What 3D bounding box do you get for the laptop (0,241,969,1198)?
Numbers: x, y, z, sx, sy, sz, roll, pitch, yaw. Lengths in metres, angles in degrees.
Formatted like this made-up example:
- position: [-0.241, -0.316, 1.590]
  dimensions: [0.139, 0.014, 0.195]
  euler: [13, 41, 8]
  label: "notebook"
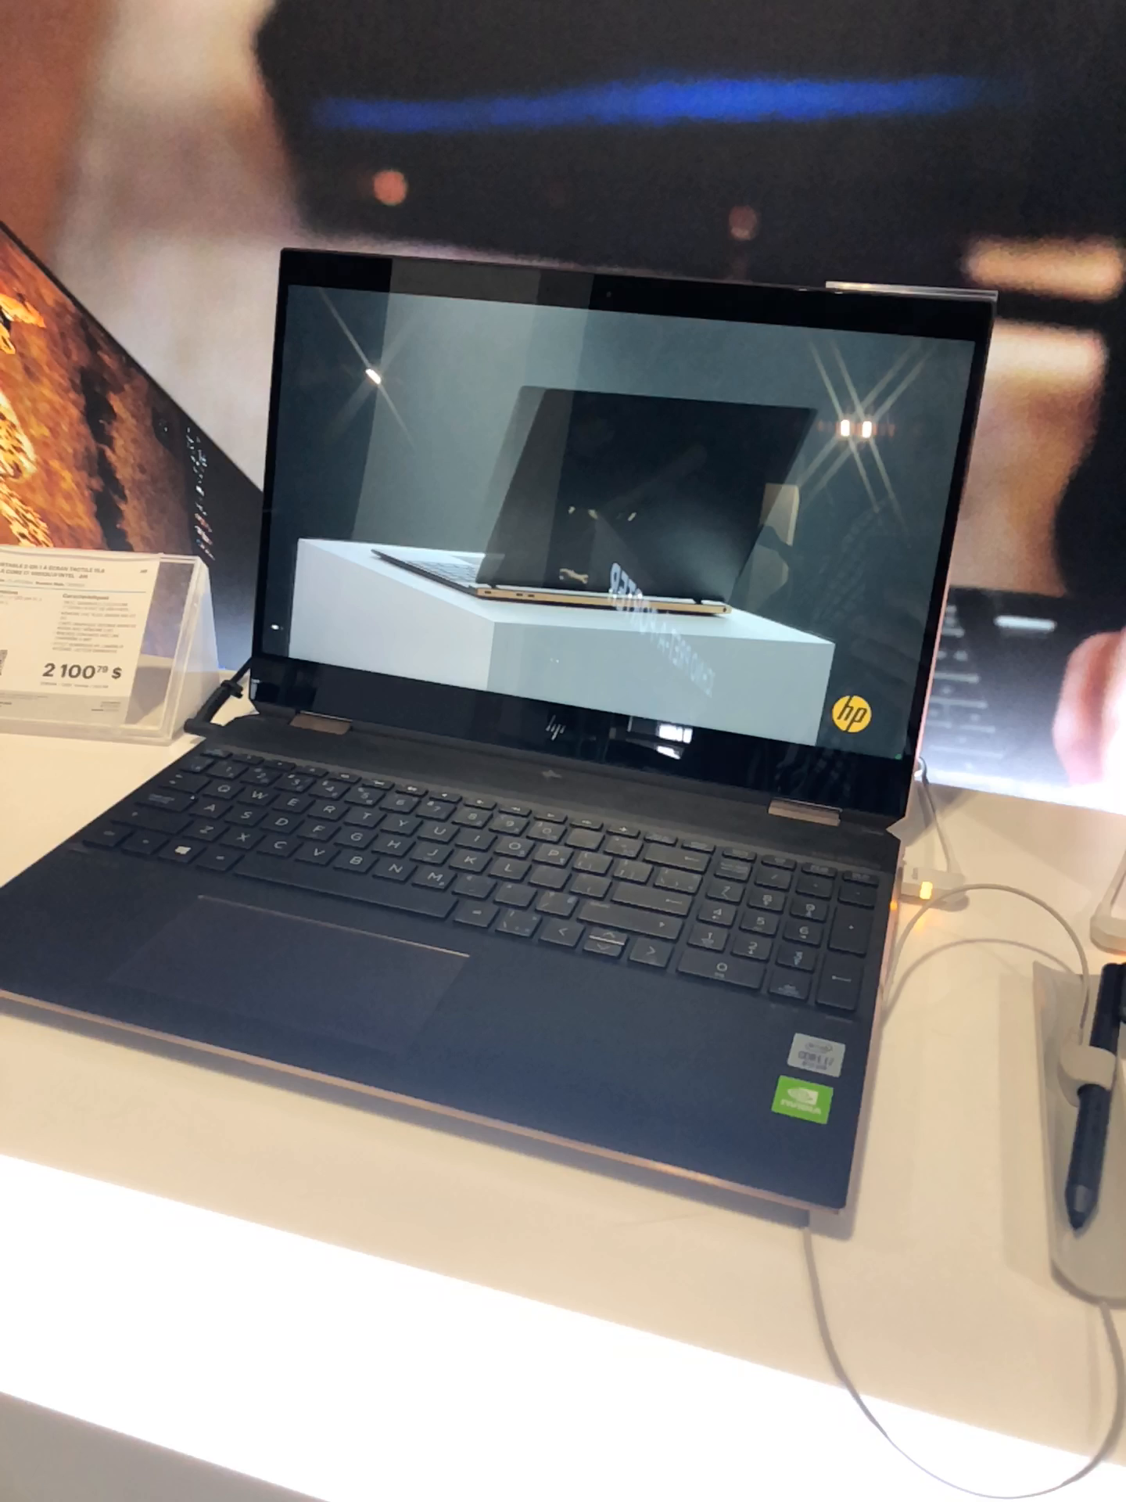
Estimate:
- position: [-0.030, -0.062, 0.498]
  dimensions: [0.333, 0.226, 0.323]
  euler: [10, 26, 12]
  label: "laptop"
